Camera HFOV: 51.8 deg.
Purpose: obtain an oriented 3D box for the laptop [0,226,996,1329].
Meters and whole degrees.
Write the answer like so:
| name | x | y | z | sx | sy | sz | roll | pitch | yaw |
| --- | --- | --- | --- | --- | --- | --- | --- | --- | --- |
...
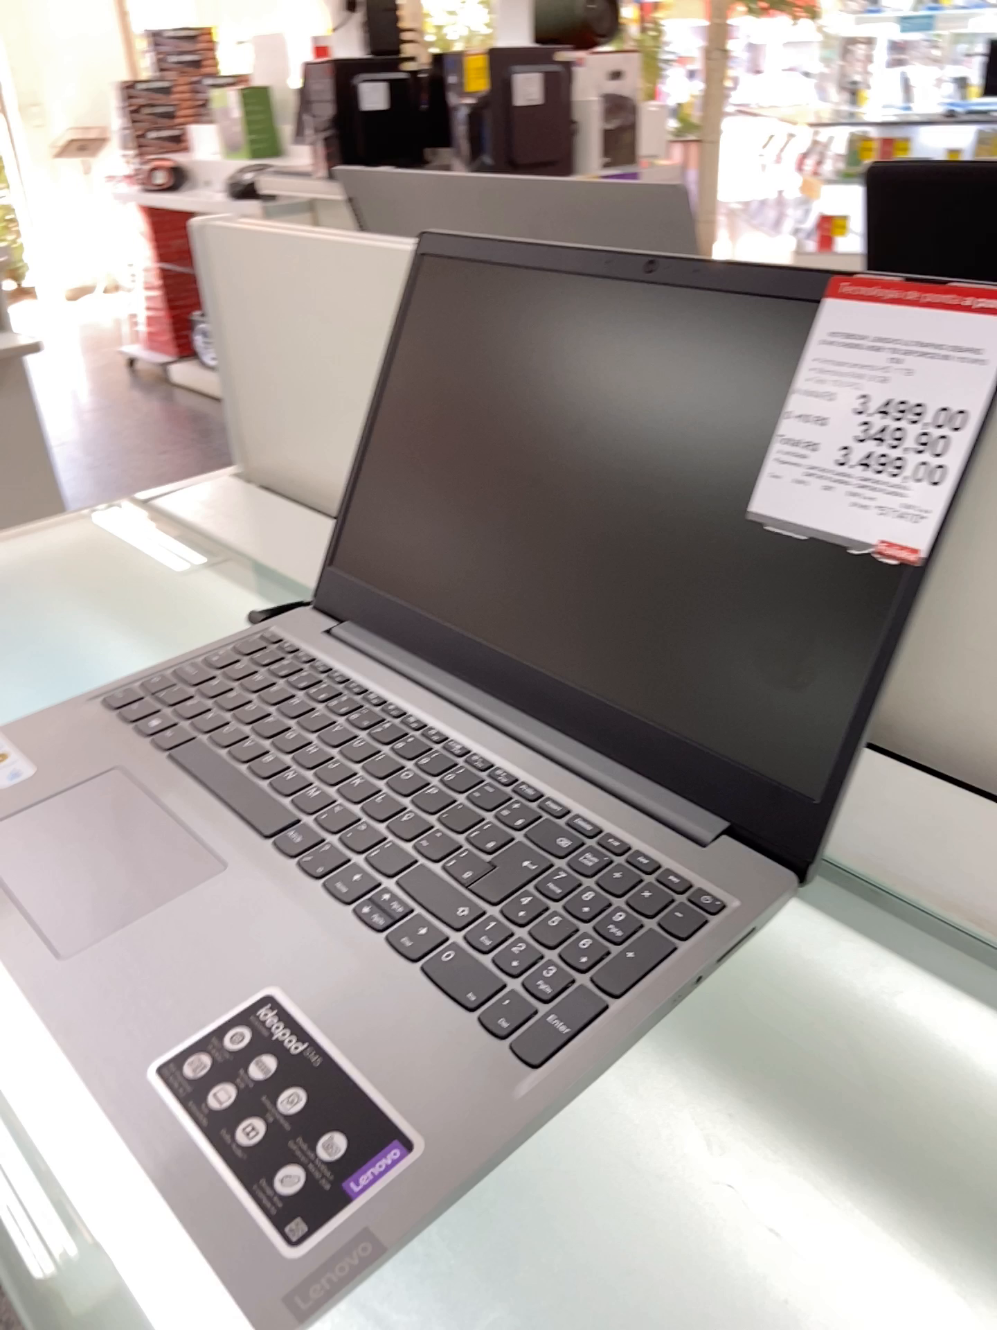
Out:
| name | x | y | z | sx | sy | sz | roll | pitch | yaw |
| --- | --- | --- | --- | --- | --- | --- | --- | --- | --- |
| laptop | -0.052 | -0.042 | 0.437 | 0.366 | 0.201 | 0.360 | -27 | 38 | -35 |
